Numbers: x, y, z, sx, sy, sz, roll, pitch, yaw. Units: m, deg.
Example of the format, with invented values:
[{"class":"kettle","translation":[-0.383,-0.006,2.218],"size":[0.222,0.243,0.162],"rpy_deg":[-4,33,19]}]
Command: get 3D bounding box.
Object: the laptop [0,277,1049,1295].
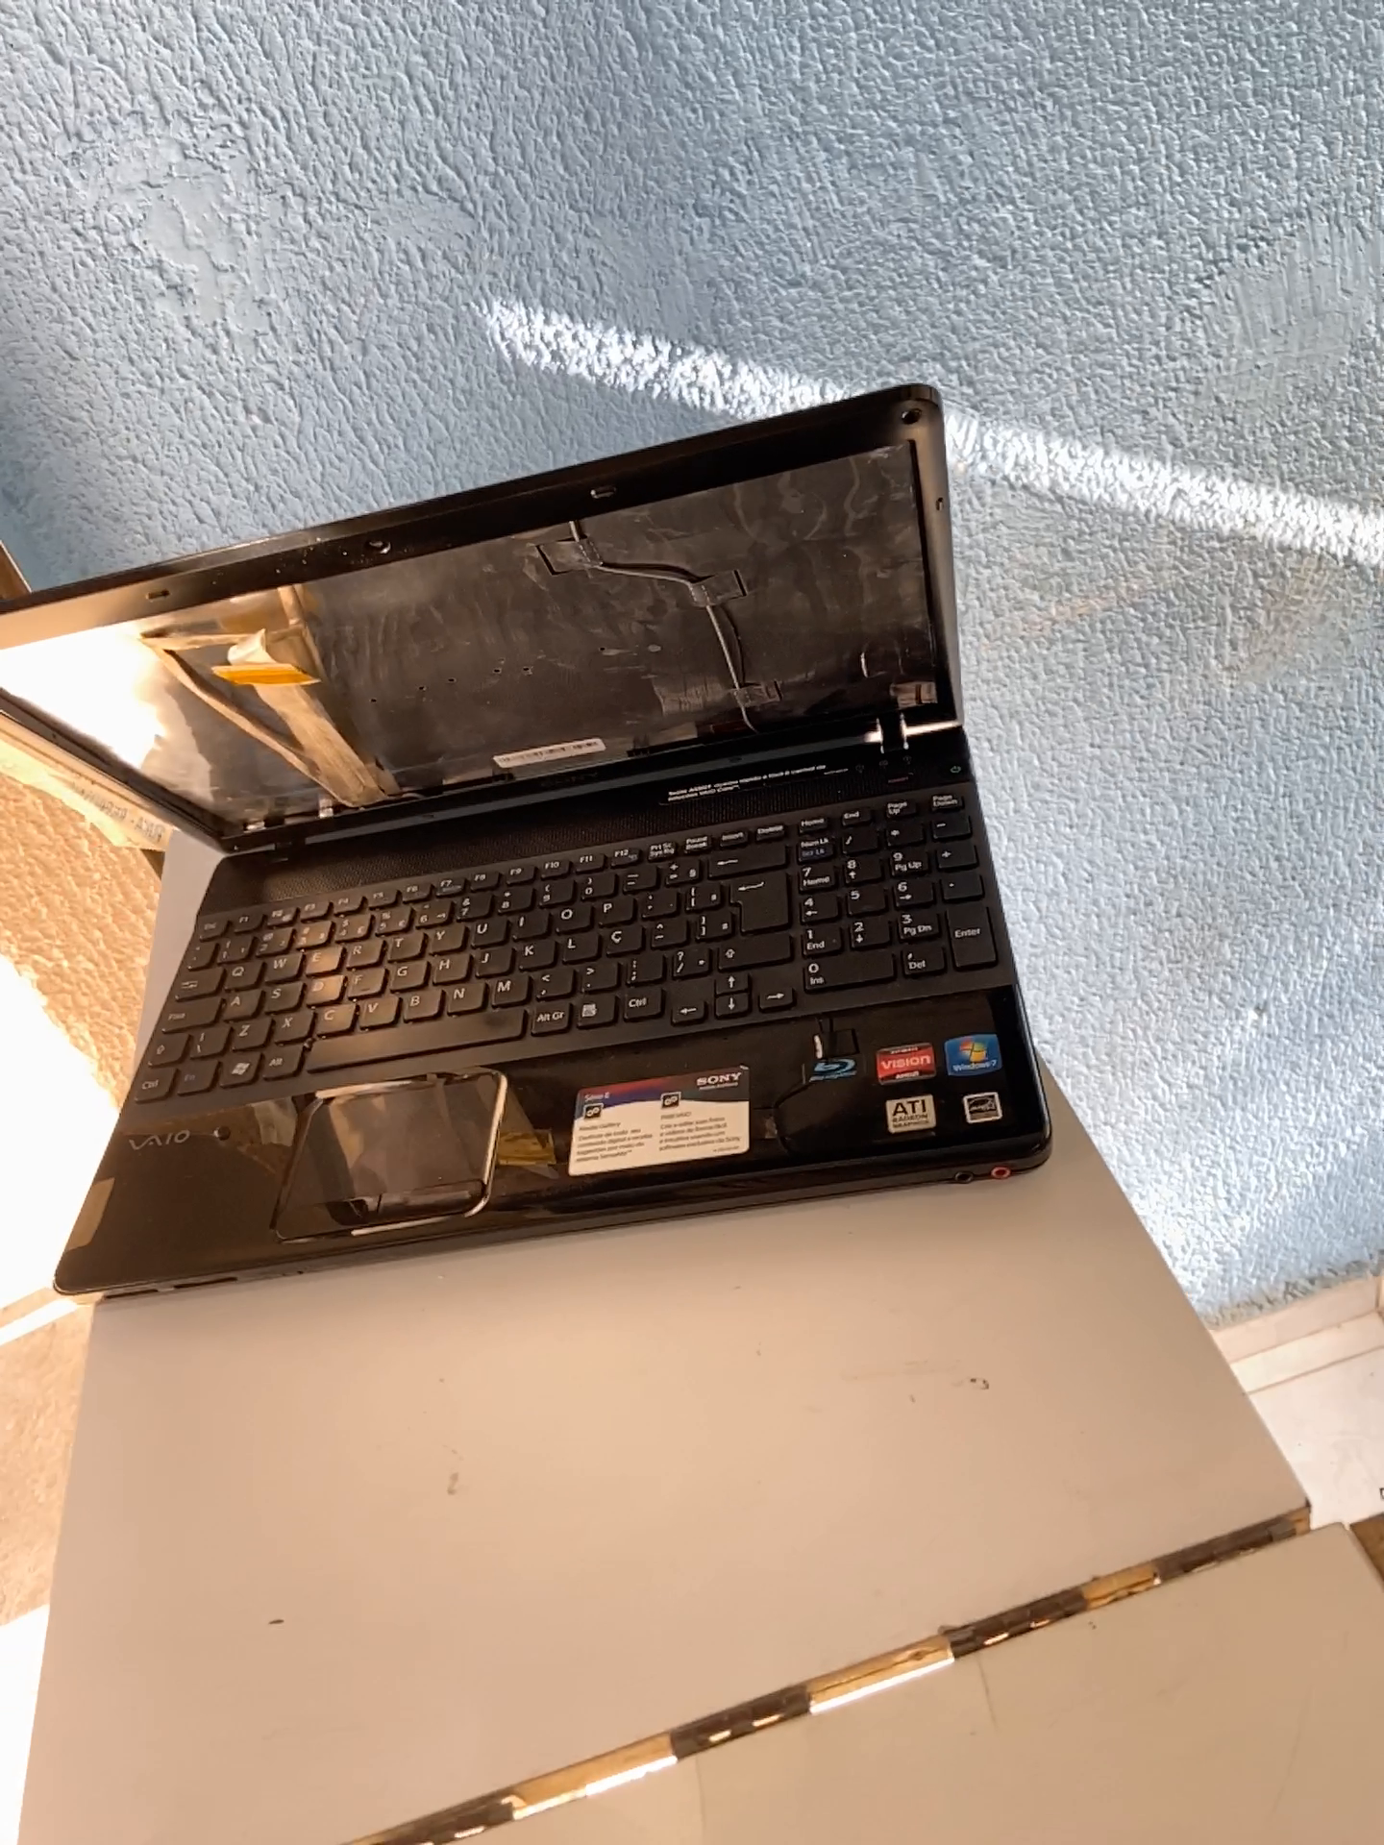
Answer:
[{"class":"laptop","translation":[-0.083,-0.050,0.520],"size":[0.364,0.193,0.243],"rpy_deg":[-10,40,10]}]
